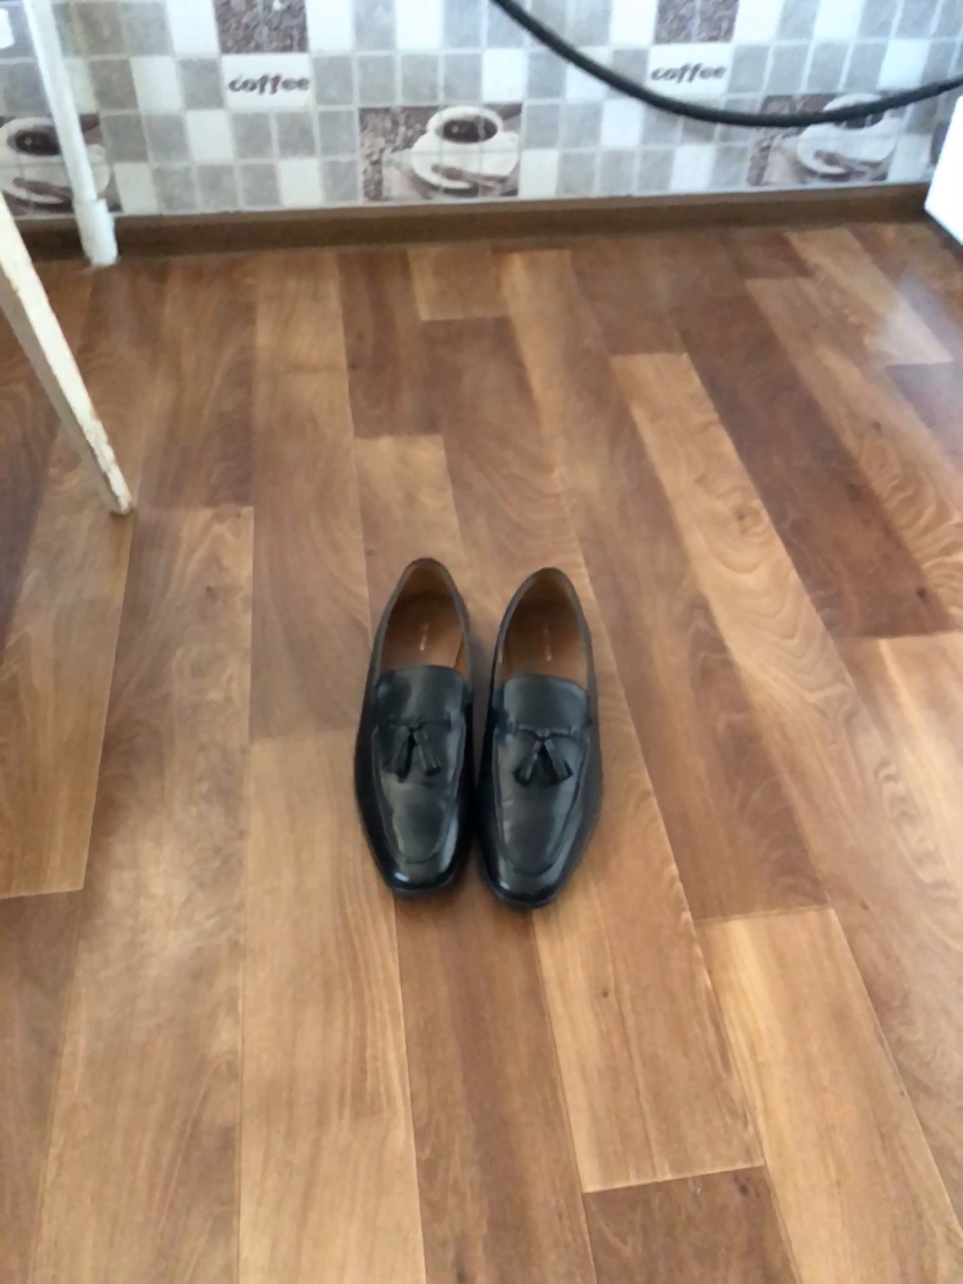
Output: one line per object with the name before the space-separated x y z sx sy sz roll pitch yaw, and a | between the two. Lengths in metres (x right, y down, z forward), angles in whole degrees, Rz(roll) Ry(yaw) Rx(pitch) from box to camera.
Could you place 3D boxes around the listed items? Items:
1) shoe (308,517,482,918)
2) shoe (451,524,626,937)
shoe | -0.057 0.047 0.818 0.110 0.119 0.302 0 46 -1
shoe | 0.046 0.056 0.811 0.110 0.119 0.302 4 46 2
